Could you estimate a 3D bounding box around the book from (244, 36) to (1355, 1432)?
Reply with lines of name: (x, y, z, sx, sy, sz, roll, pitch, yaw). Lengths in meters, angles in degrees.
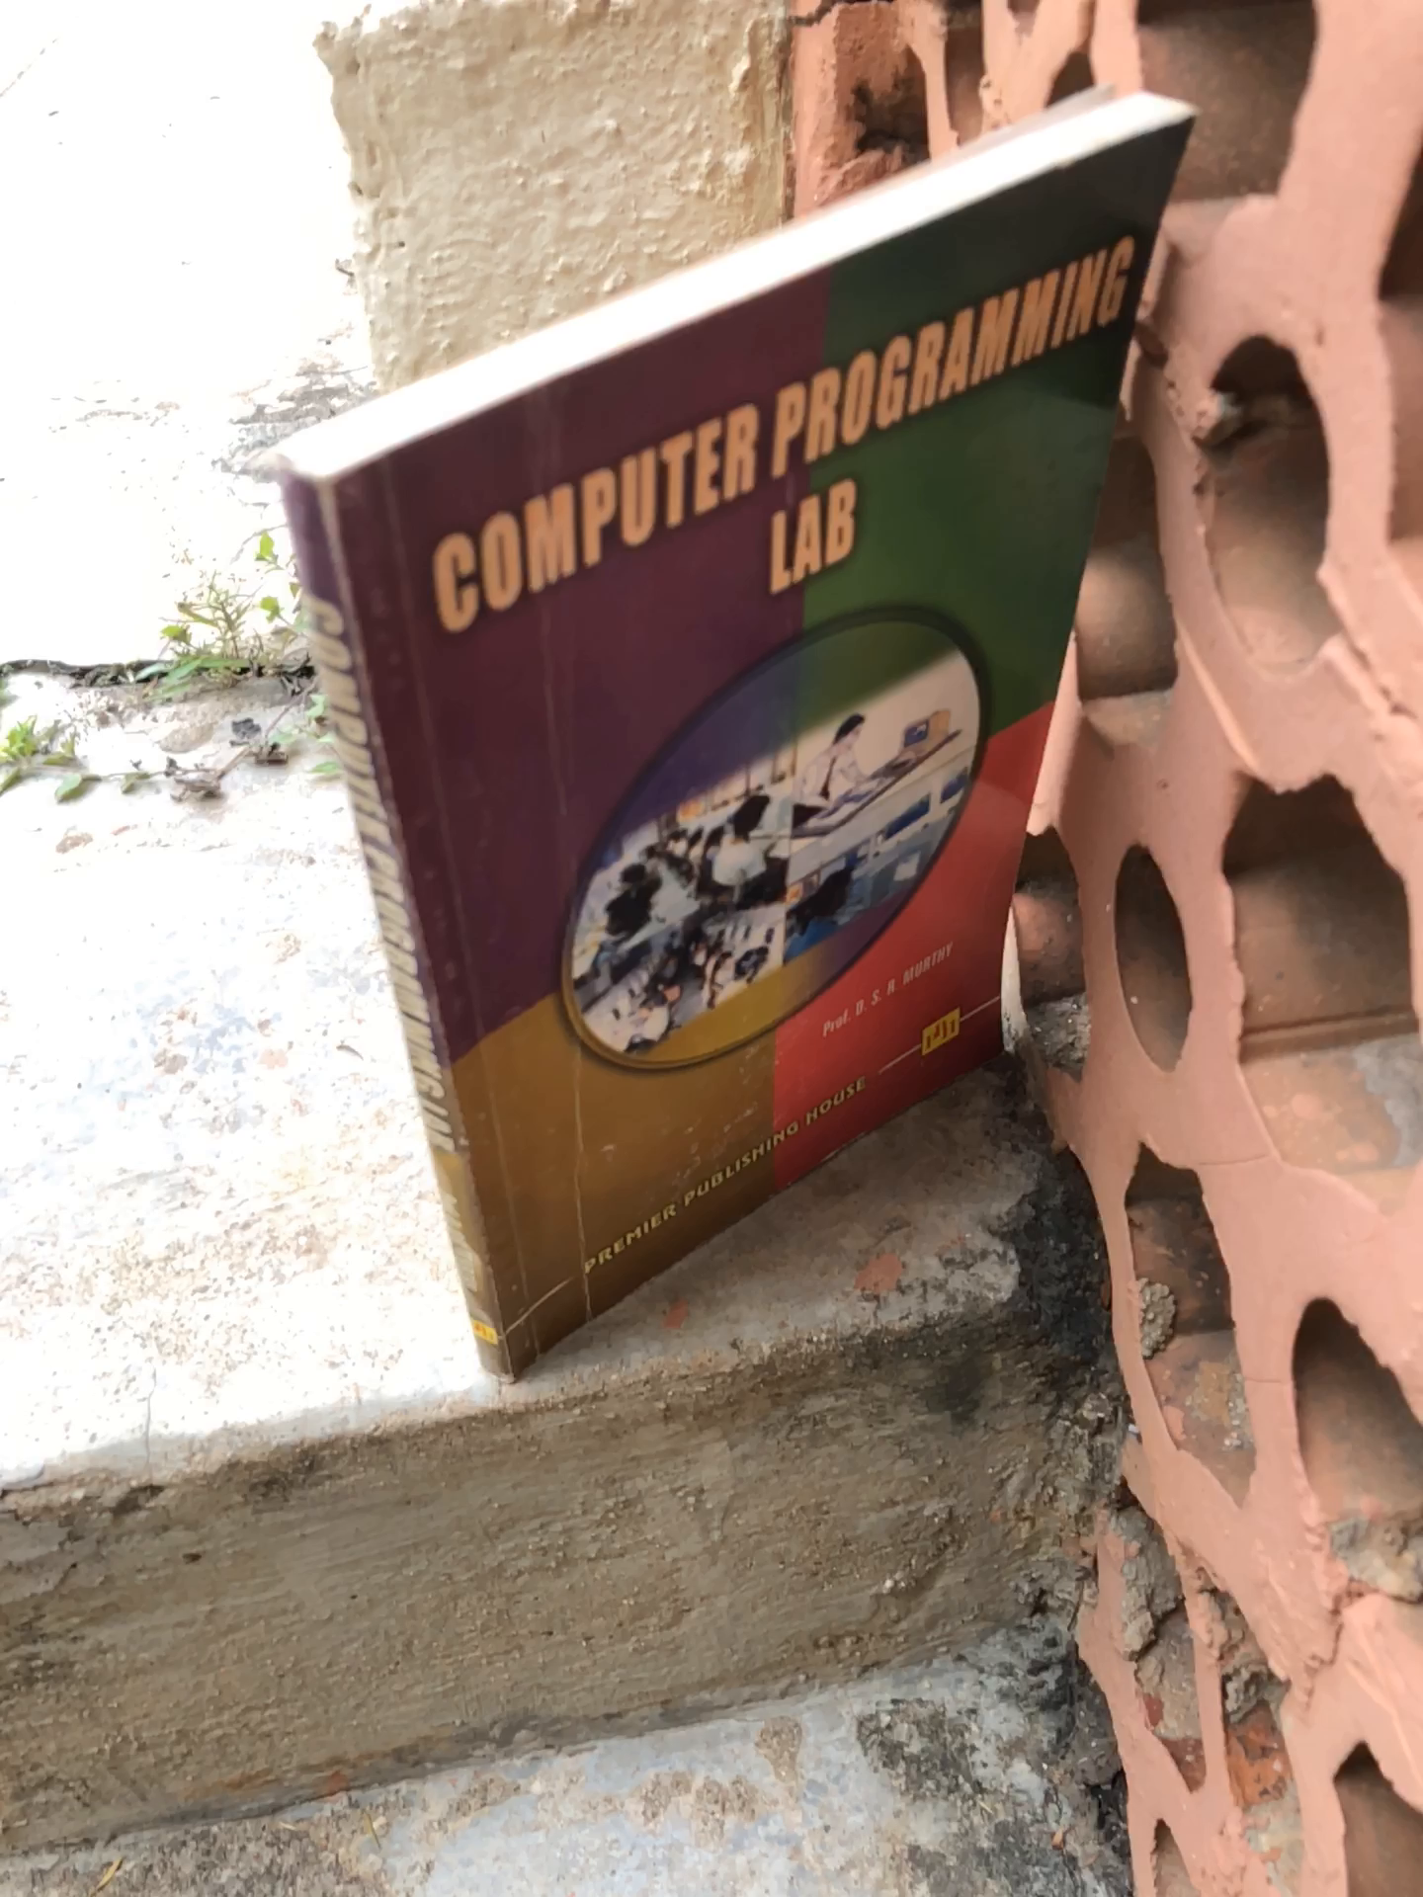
book: (0.020, -0.018, 0.305, 0.180, 0.249, 0.020, -32, 58, -25)
